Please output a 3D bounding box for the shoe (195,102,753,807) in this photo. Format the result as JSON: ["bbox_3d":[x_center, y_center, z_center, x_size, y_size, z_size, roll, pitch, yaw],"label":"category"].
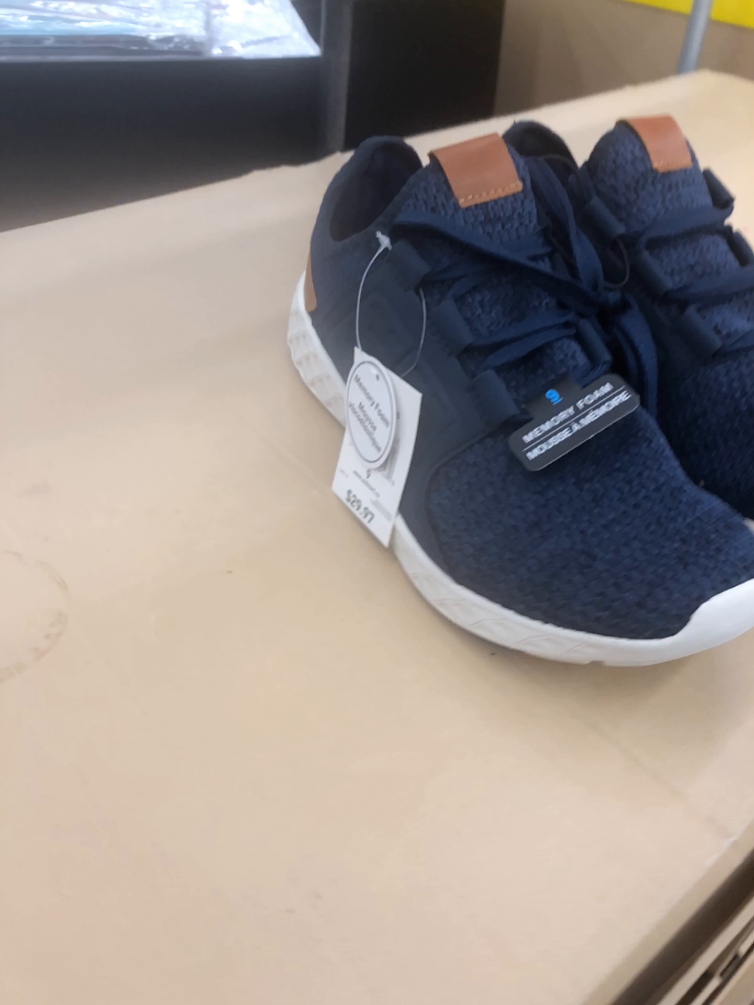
[{"bbox_3d":[0.036,-0.052,0.343,0.110,0.130,0.291,-18,44,-24],"label":"shoe"}]

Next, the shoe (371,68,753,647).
[{"bbox_3d":[0.129,-0.091,0.374,0.110,0.120,0.291,-24,46,-29],"label":"shoe"}]
